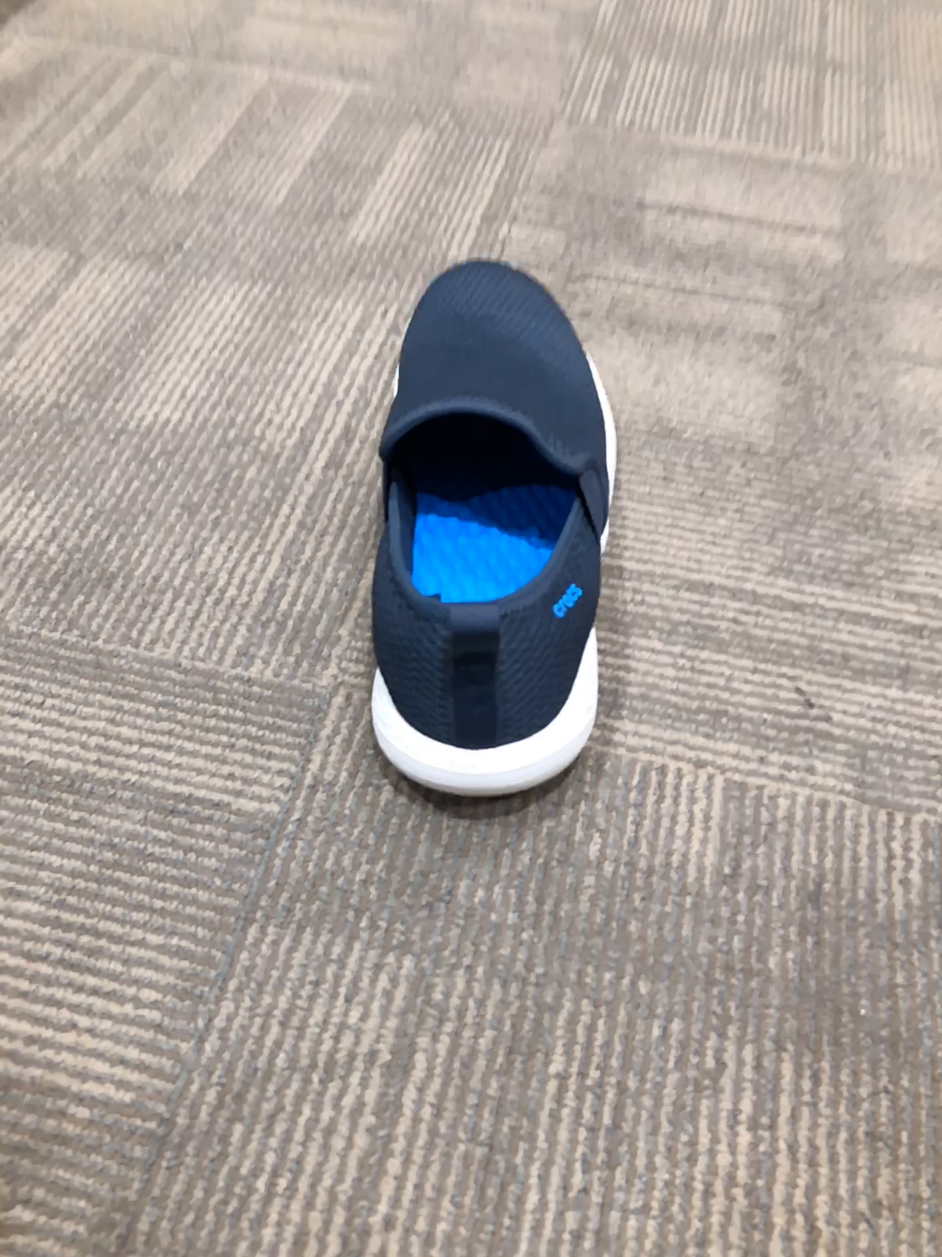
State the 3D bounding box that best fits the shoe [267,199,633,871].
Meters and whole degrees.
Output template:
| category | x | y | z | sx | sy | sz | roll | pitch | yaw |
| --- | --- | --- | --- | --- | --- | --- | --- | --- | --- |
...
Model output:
| category | x | y | z | sx | sy | sz | roll | pitch | yaw |
| --- | --- | --- | --- | --- | --- | --- | --- | --- | --- |
| shoe | 0.005 | -0.053 | 0.447 | 0.110 | 0.119 | 0.272 | 6 | 52 | 3 |
